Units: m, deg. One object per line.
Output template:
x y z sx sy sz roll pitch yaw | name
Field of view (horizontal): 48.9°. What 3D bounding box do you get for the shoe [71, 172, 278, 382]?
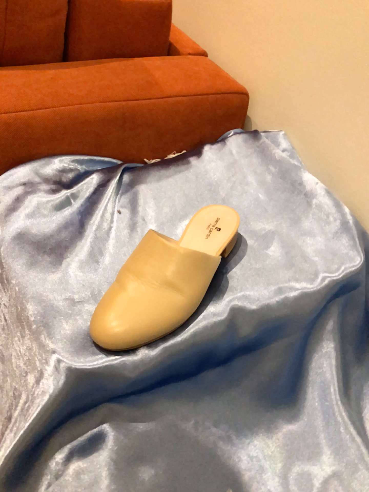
0.003 0.016 0.464 0.095 0.060 0.262 30 48 18 | shoe
